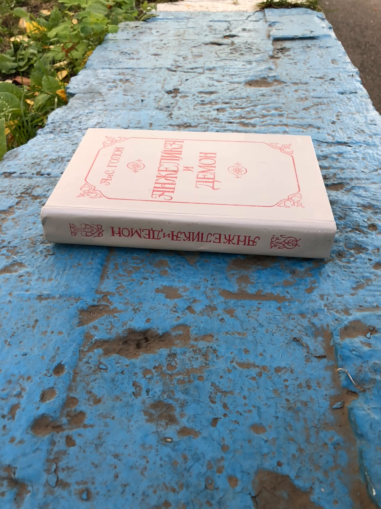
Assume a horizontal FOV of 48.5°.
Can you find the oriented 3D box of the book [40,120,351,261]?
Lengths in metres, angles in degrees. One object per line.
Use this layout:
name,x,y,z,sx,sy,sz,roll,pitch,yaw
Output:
book,0.006,-0.060,0.350,0.211,0.032,0.141,3,42,2
